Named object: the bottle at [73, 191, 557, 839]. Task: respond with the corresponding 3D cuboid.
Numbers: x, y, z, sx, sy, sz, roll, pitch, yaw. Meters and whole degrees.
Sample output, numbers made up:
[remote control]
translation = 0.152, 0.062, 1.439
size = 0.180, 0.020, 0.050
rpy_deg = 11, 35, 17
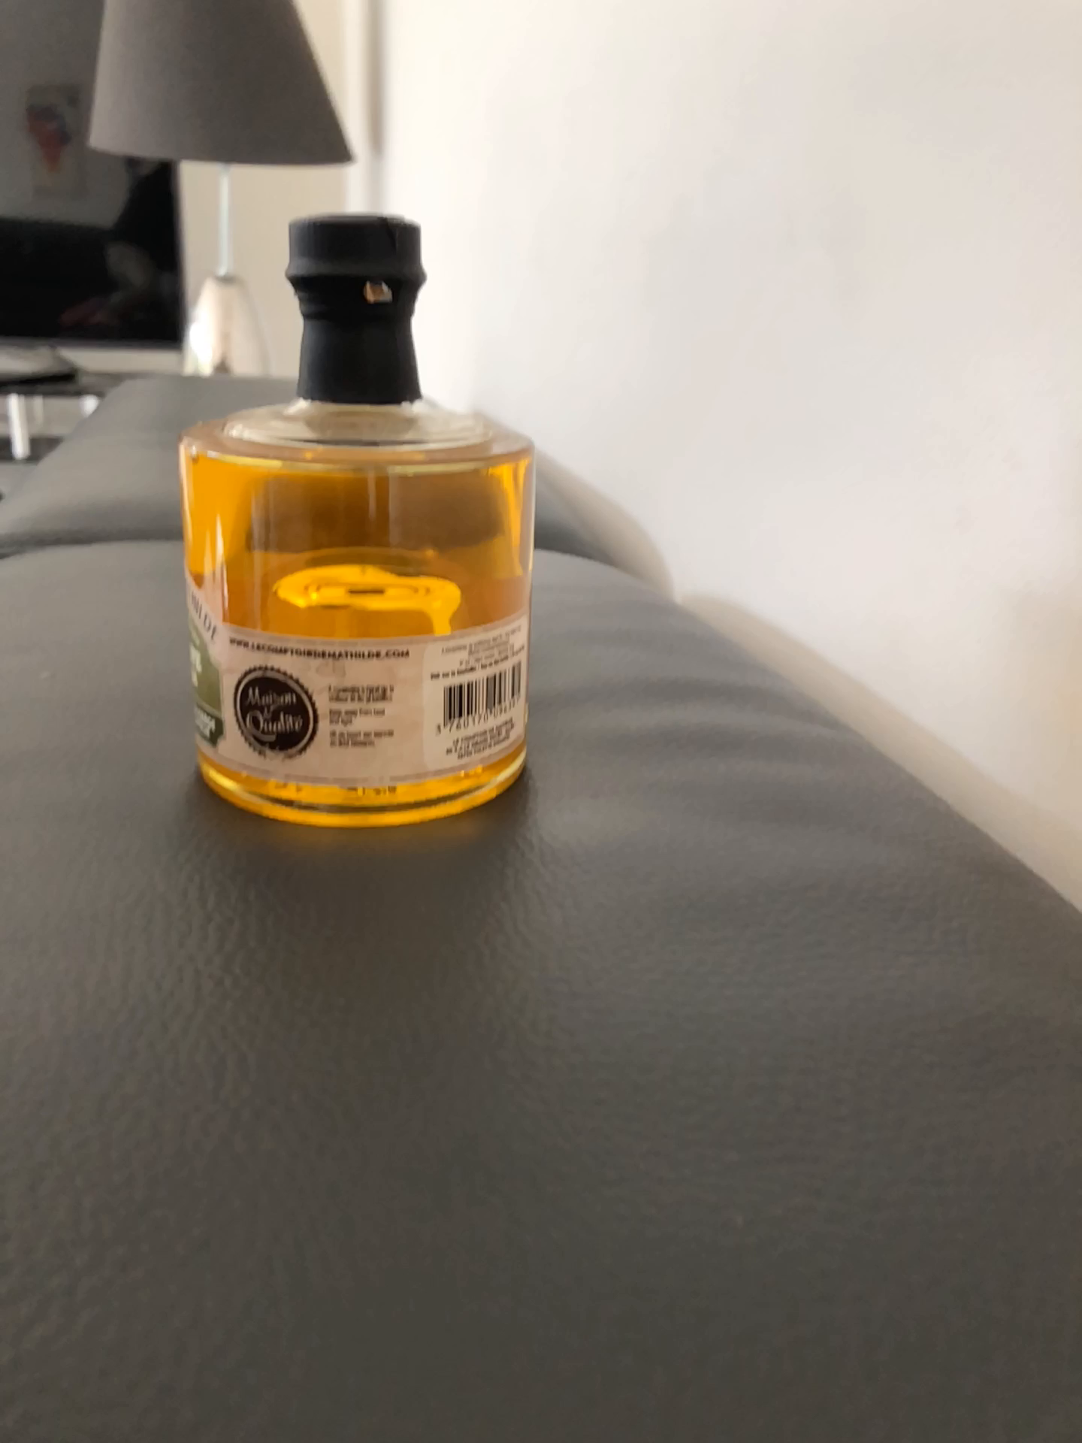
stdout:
[bottle]
translation = -0.045, -0.052, 0.288
size = 0.090, 0.129, 0.090
rpy_deg = 2, 21, -1
